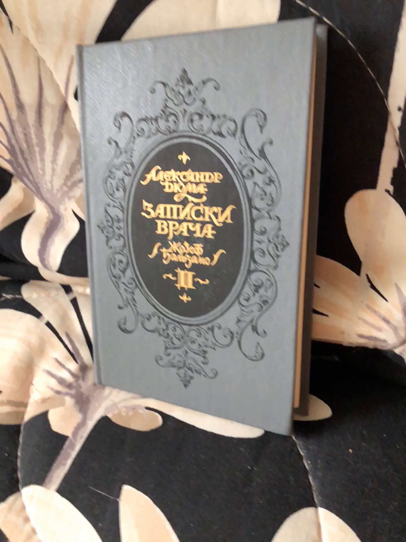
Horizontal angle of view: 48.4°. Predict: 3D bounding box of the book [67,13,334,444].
[{"bbox_3d":[-0.008,-0.020,0.261,0.140,0.030,0.210,8,105,24],"label":"book"}]
